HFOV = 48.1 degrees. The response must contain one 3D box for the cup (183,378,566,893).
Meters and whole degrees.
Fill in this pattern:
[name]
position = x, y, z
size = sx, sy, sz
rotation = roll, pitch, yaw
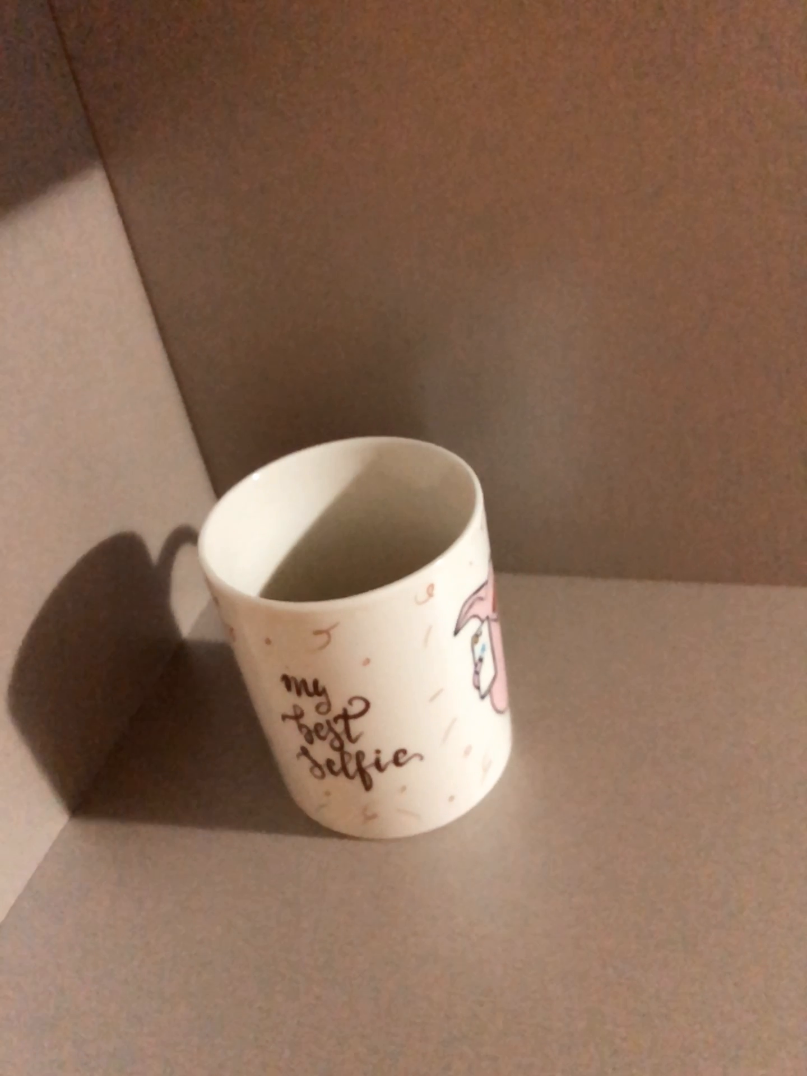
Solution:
[cup]
position = -0.007, 0.026, 0.289
size = 0.086, 0.096, 0.119
rotation = -10, 36, 2
